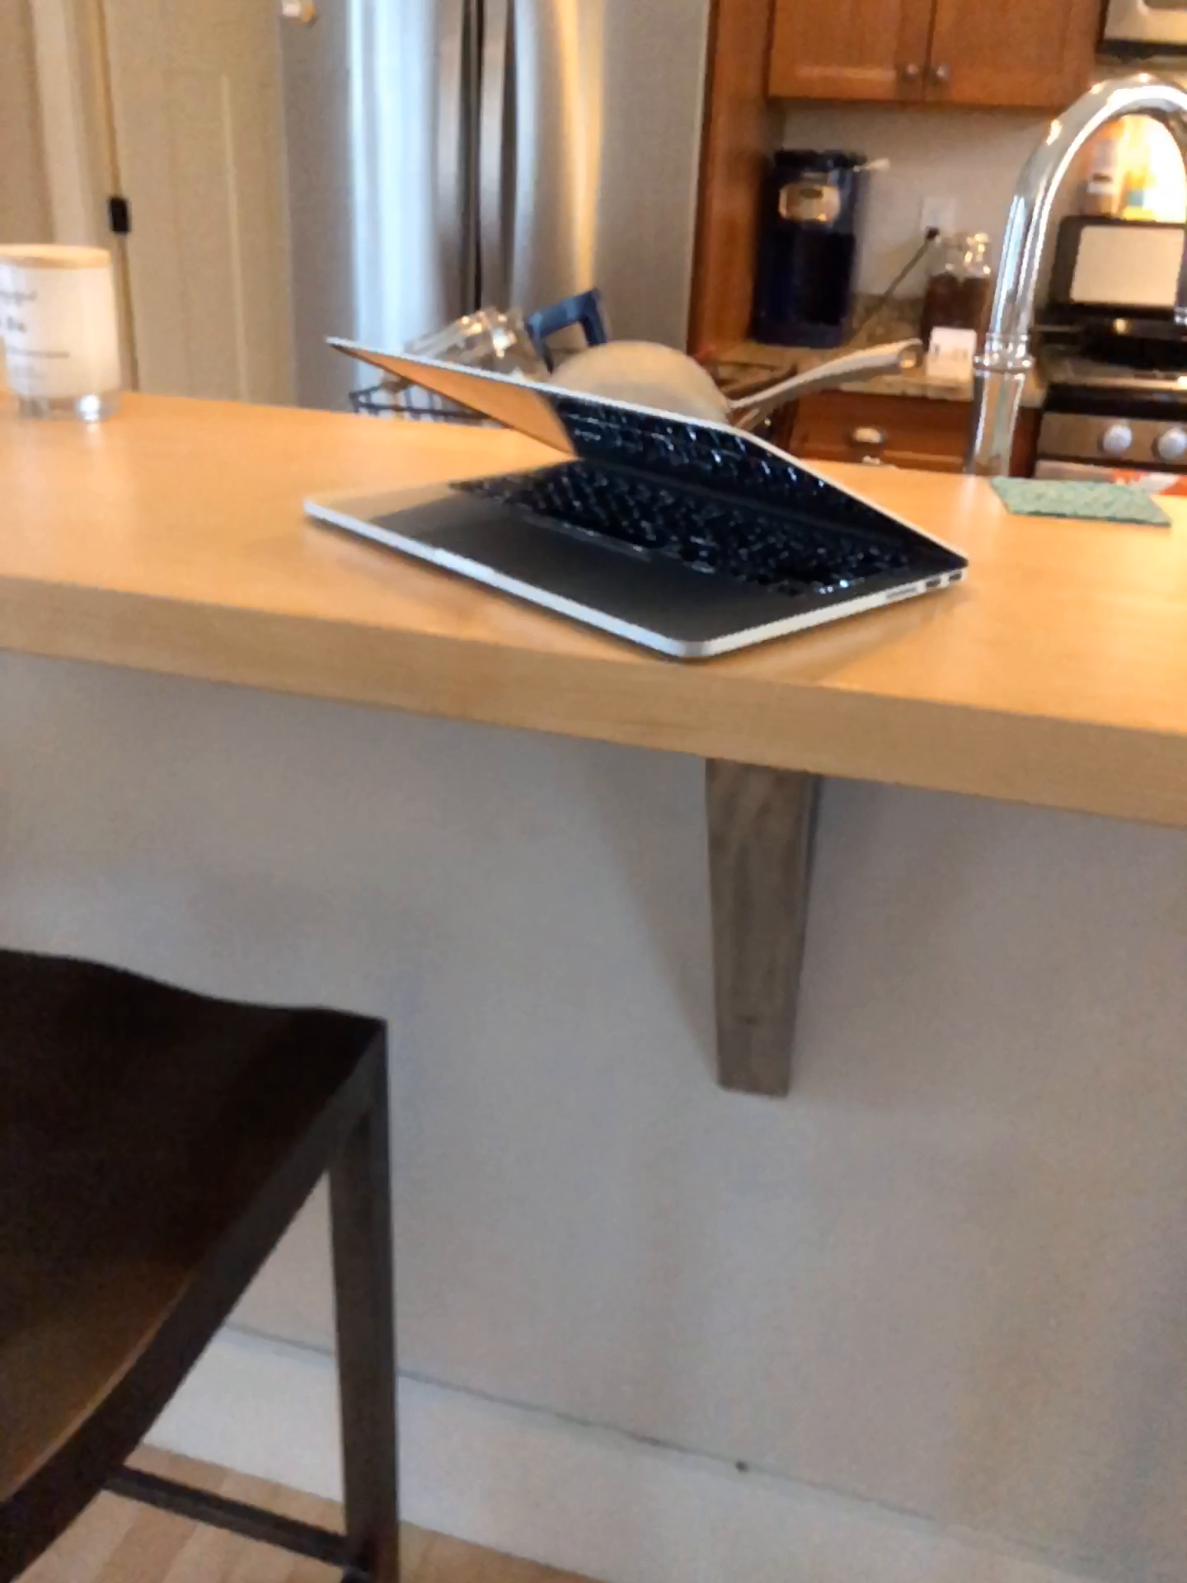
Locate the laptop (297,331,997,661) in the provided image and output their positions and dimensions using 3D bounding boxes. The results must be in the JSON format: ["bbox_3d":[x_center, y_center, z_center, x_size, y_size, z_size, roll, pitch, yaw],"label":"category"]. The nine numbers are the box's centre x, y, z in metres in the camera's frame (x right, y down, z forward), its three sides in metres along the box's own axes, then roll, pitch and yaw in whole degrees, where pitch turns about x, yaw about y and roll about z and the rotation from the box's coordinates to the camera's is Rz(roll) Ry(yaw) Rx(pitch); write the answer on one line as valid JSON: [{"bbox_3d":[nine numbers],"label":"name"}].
[{"bbox_3d":[0.017,-0.173,0.691,0.211,0.084,0.300,-19,34,-38],"label":"laptop"}]
